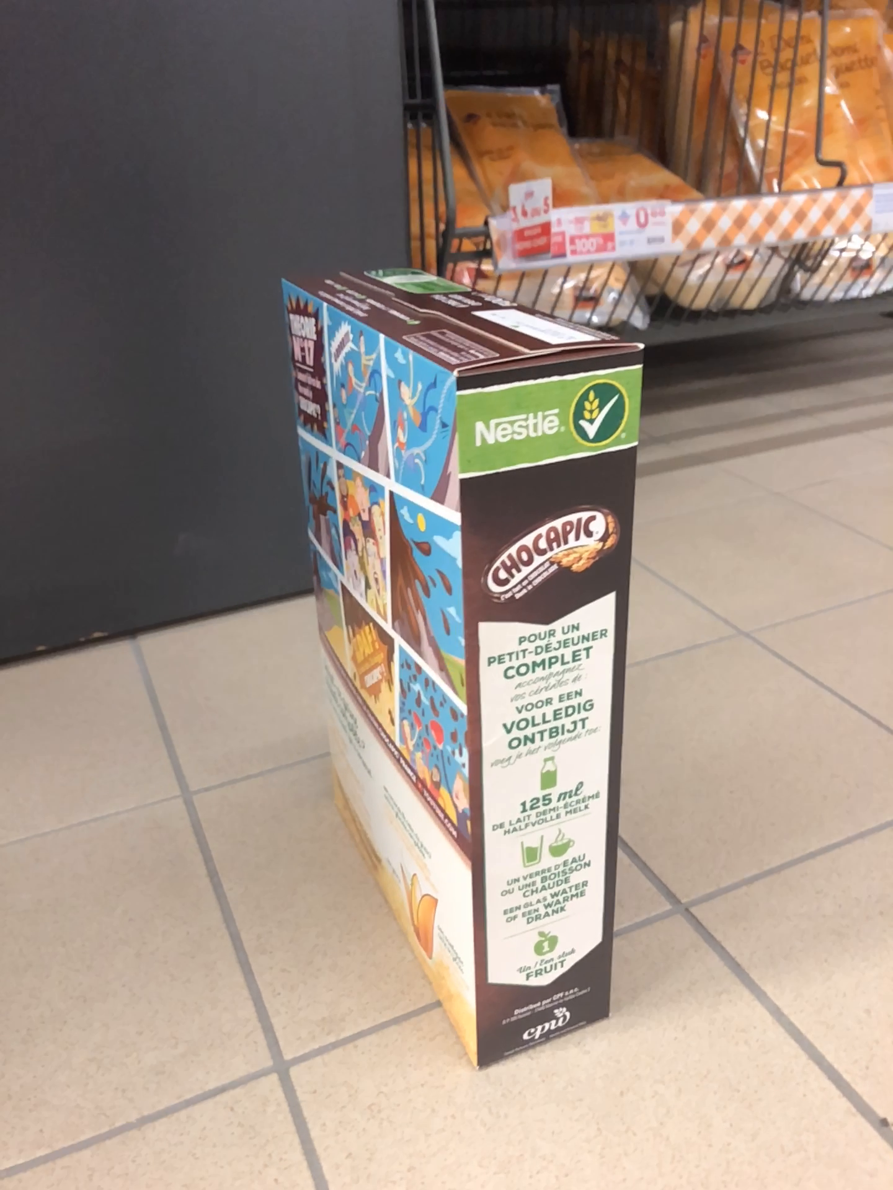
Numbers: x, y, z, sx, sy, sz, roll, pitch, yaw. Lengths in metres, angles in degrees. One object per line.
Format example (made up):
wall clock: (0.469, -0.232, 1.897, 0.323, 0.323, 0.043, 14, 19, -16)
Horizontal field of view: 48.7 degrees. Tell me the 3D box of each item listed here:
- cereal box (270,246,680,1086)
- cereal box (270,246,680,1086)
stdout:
cereal box: (0.001, 0.015, 0.419, 0.070, 0.288, 0.201, -12, 27, -21)
cereal box: (0.001, 0.015, 0.419, 0.070, 0.288, 0.201, -12, 27, -21)
